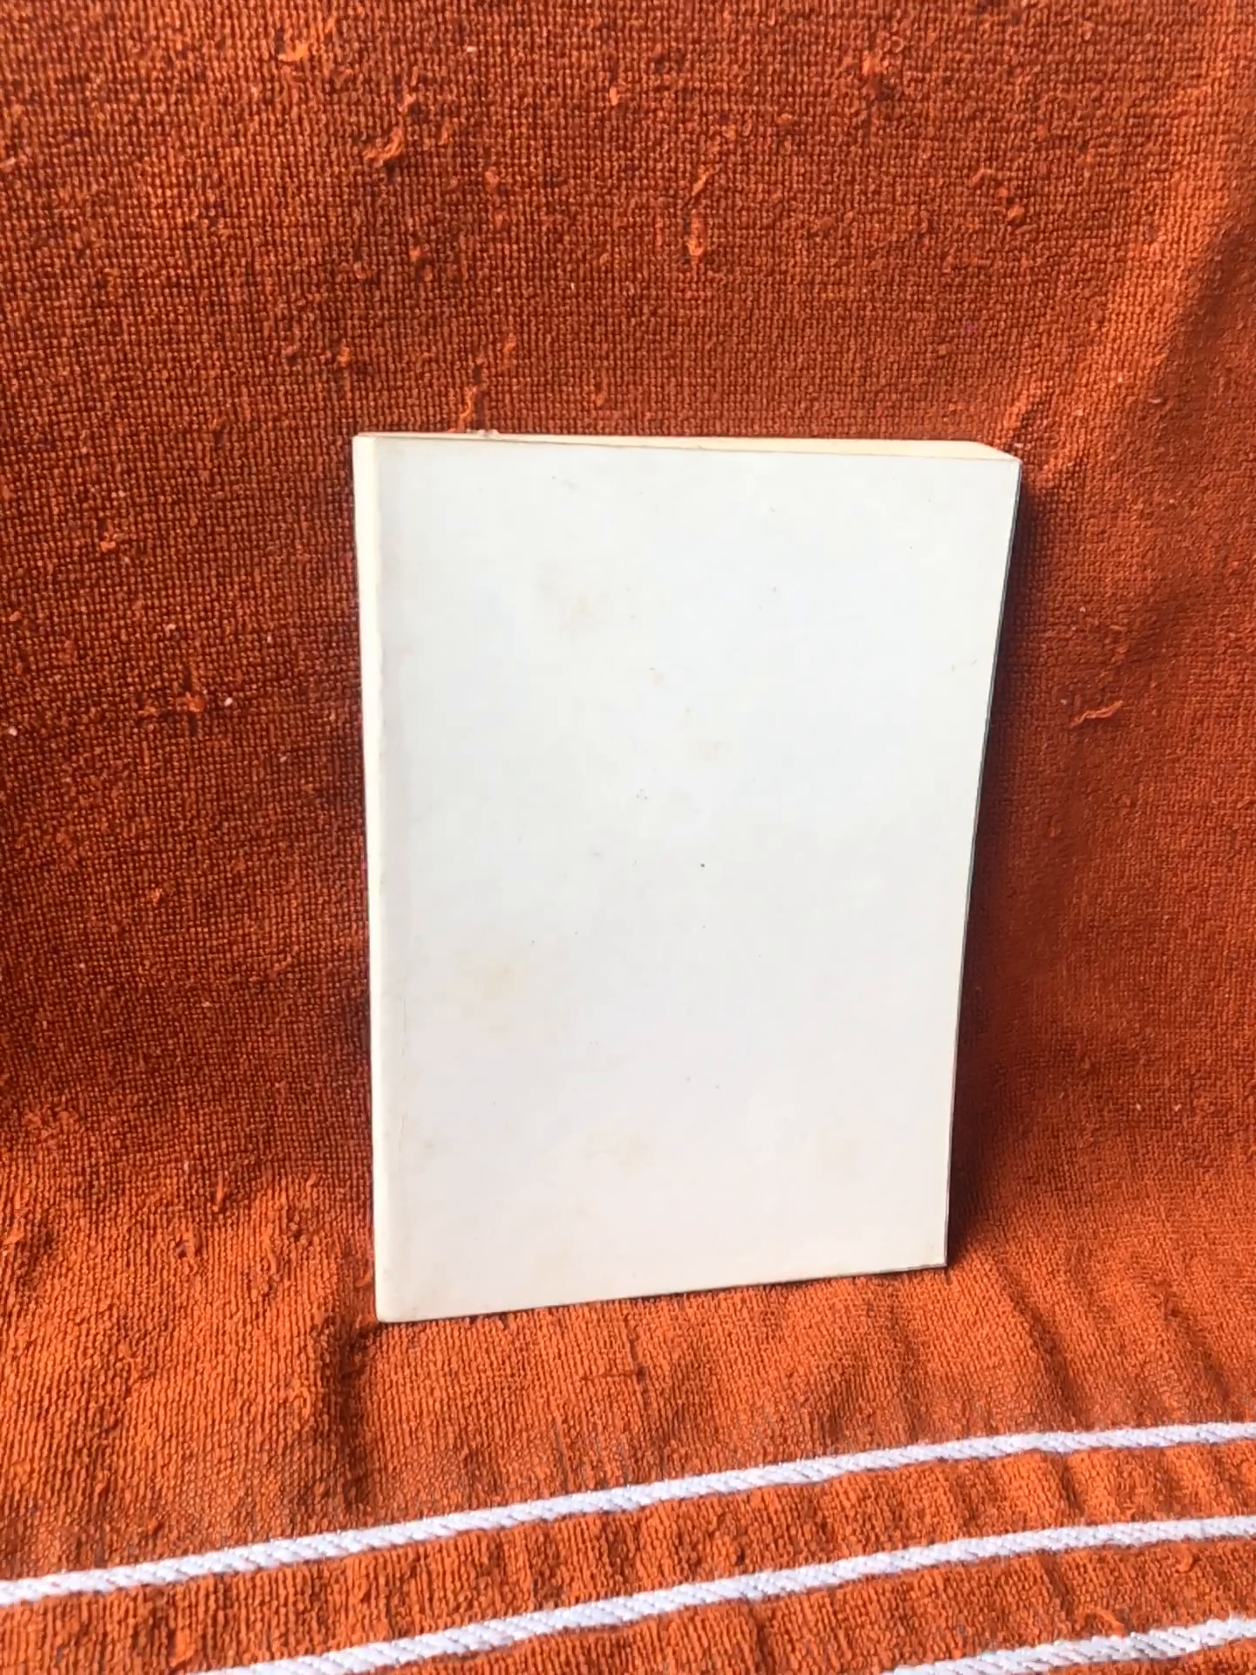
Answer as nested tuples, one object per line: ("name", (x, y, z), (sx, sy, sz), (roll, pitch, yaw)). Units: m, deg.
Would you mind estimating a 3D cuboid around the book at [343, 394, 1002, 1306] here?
("book", (0.009, 0.004, 0.335), (0.150, 0.200, 0.030), (-1, 7, -14))
